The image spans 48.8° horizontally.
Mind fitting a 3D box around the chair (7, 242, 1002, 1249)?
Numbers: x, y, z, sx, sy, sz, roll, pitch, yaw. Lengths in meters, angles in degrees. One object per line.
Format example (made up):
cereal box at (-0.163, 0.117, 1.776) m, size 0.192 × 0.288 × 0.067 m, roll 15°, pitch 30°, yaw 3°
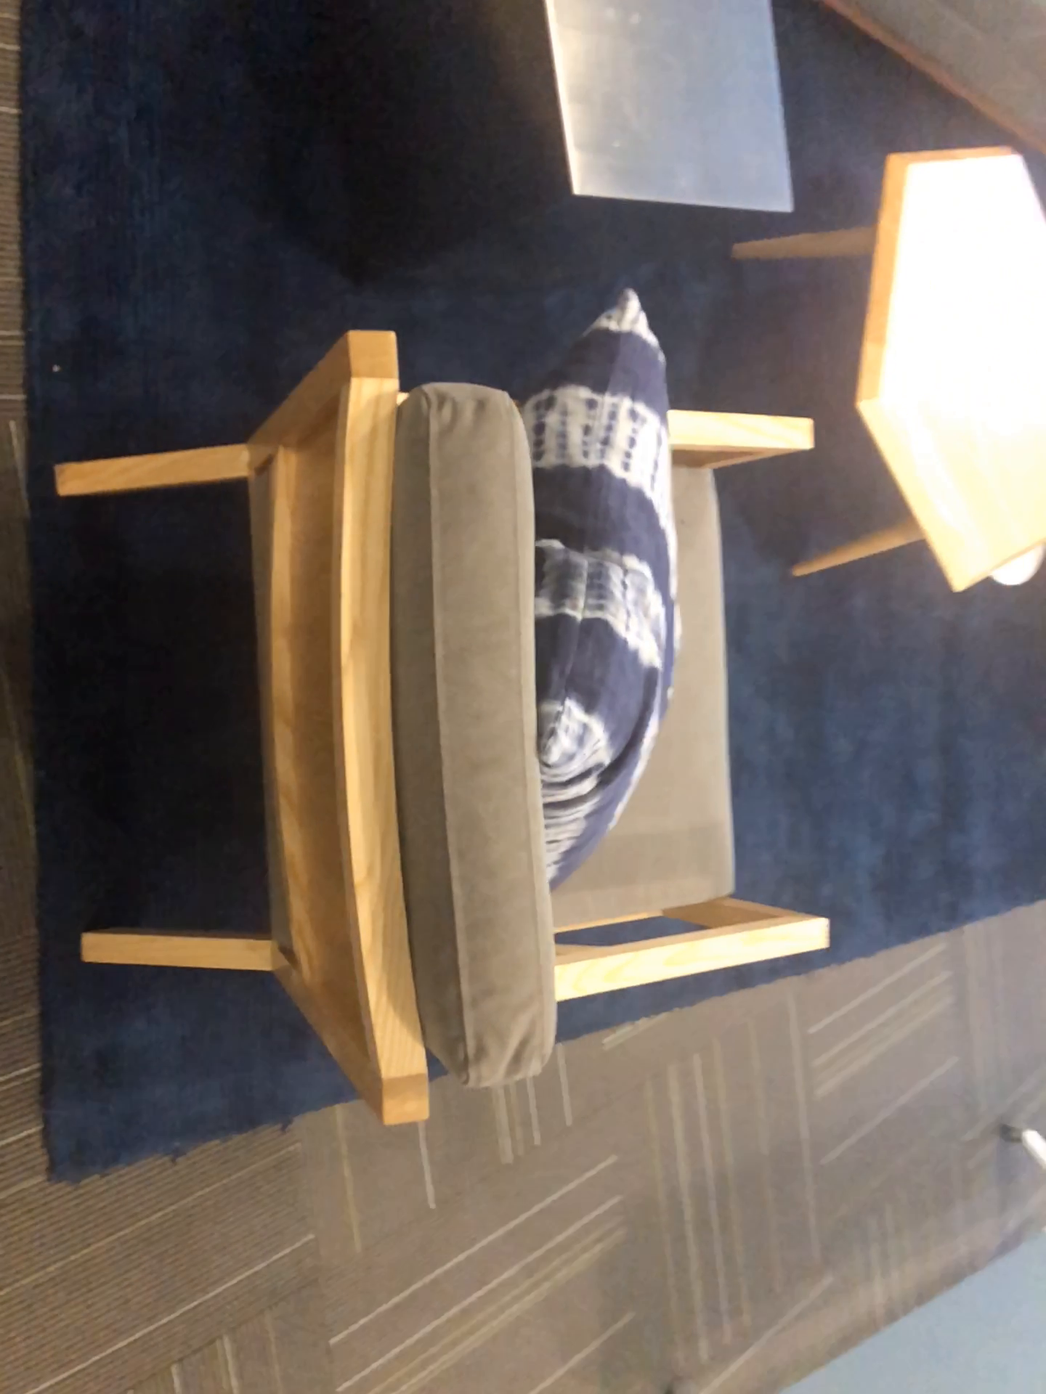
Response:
chair at (-0.021, 0.021, 1.333) m, size 0.836 × 0.774 × 0.670 m, roll -2°, pitch 92°, yaw -42°
